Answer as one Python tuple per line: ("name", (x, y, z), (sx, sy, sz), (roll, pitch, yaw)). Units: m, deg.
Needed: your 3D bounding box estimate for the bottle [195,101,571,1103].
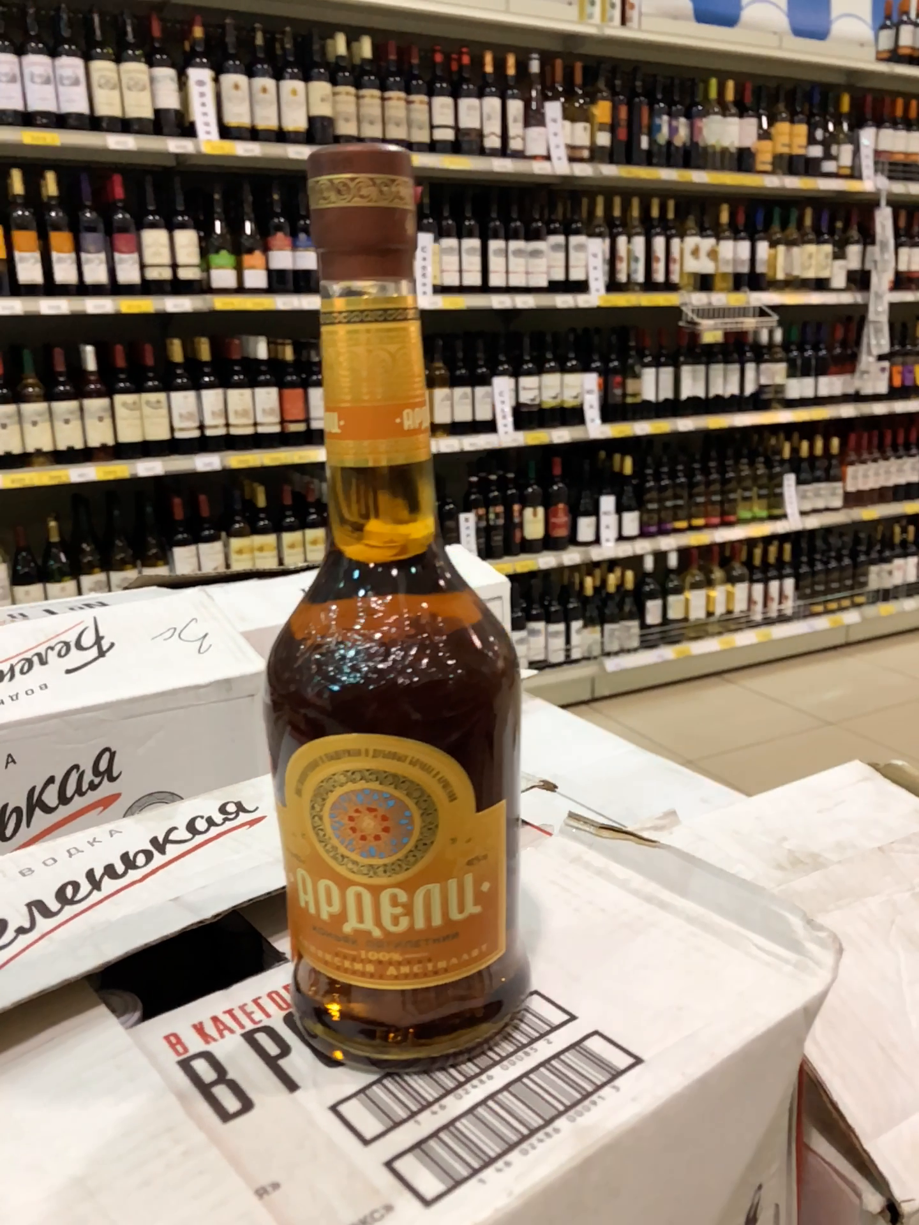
("bottle", (-0.012, 0.002, 0.298), (0.080, 0.259, 0.080), (-1, 15, 0))
